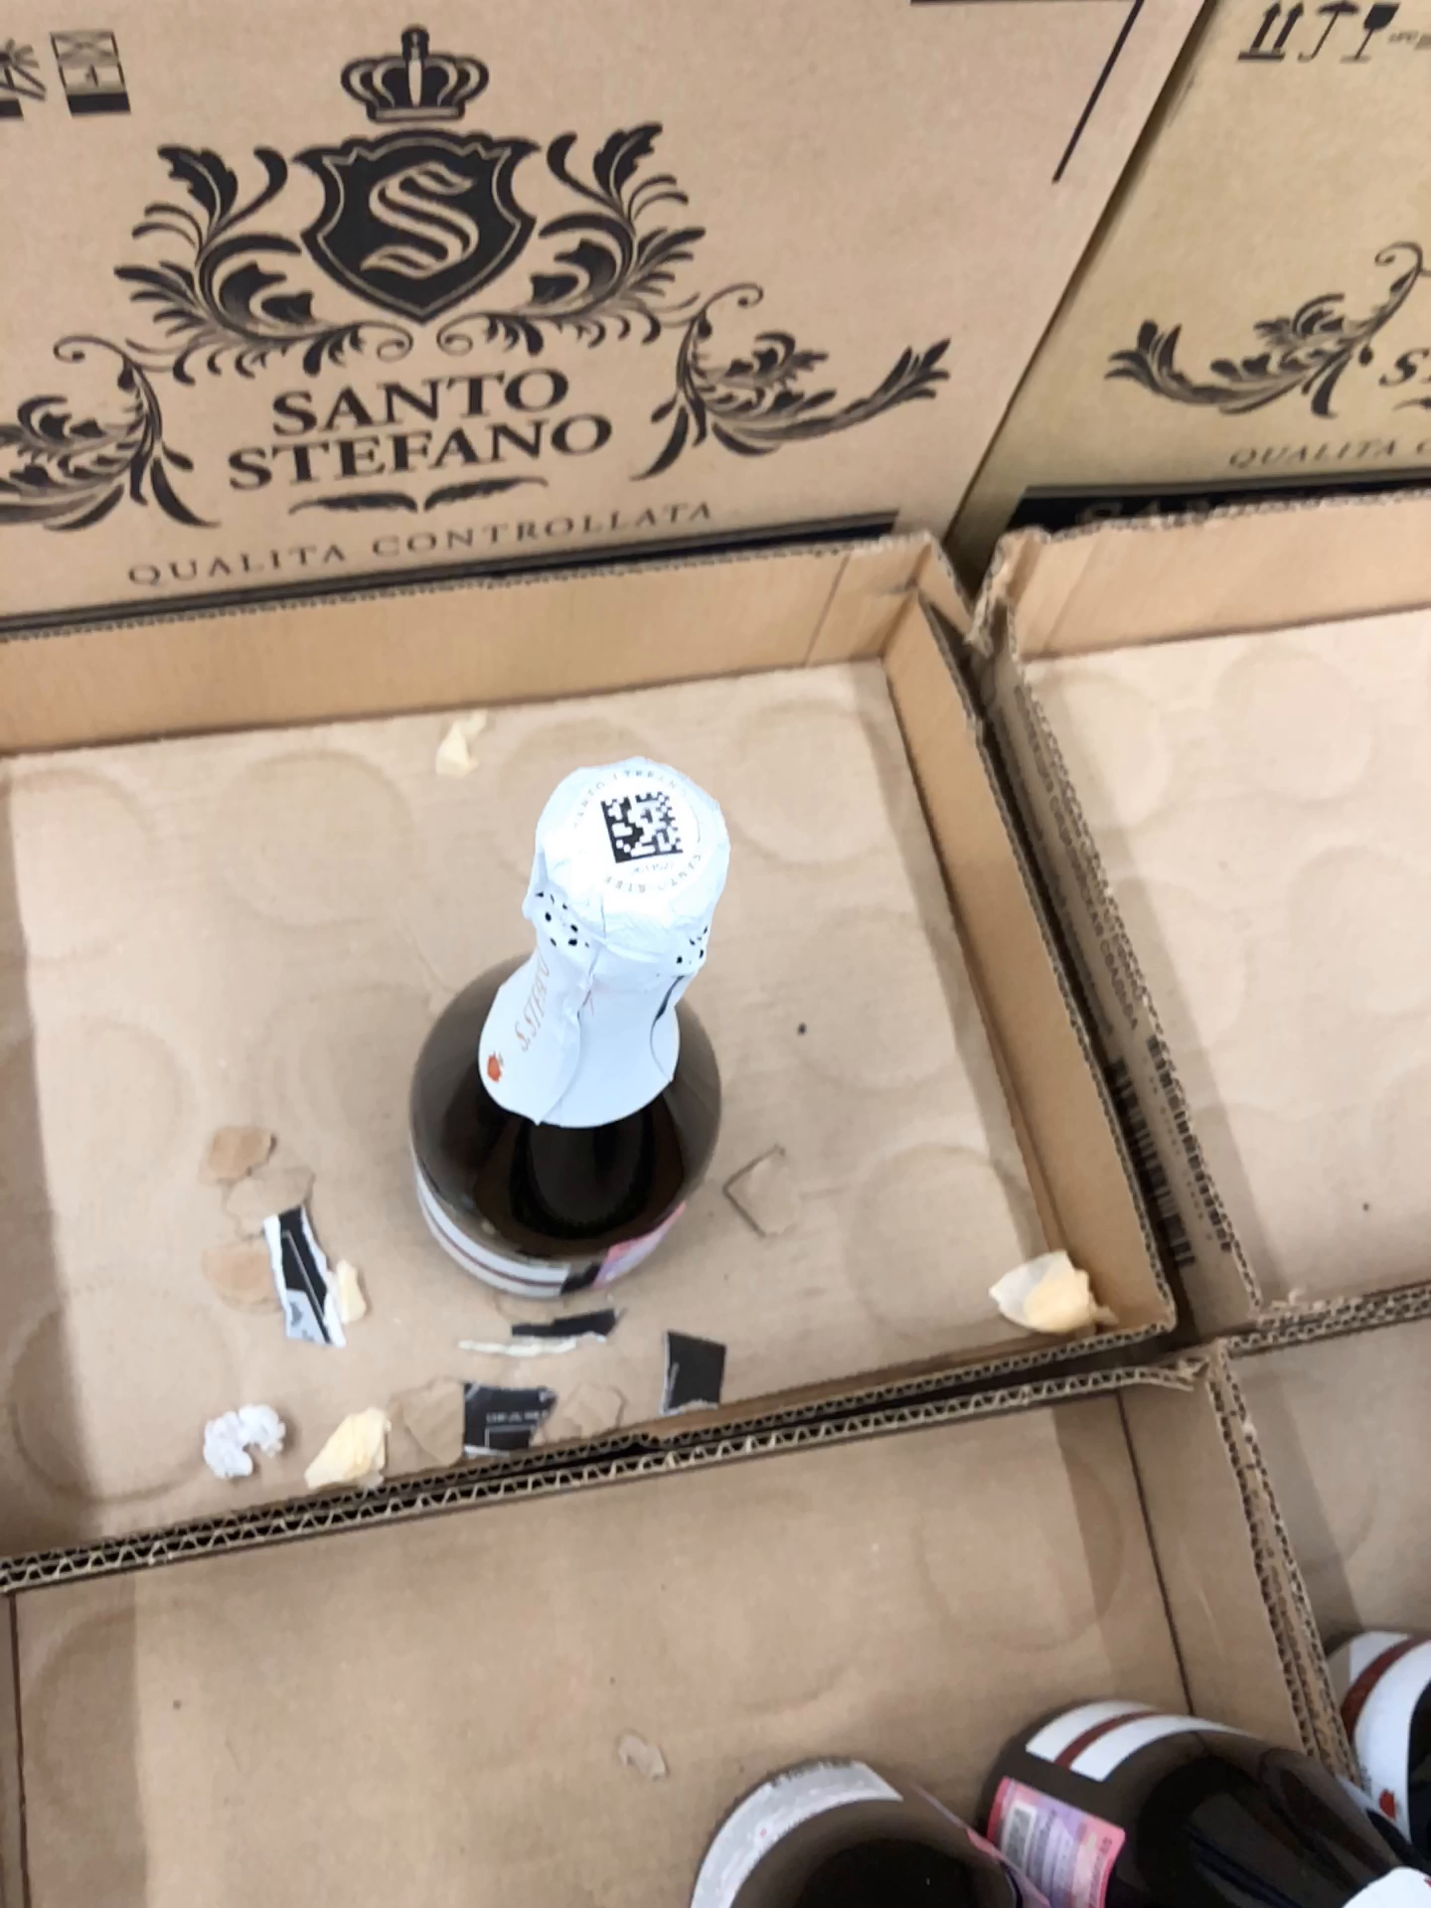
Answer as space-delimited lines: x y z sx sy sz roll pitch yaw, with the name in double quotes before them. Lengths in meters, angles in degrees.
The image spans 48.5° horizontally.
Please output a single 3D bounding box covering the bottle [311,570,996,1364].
"bottle" -0.032 0.034 0.408 0.090 0.309 0.090 3 71 -8
